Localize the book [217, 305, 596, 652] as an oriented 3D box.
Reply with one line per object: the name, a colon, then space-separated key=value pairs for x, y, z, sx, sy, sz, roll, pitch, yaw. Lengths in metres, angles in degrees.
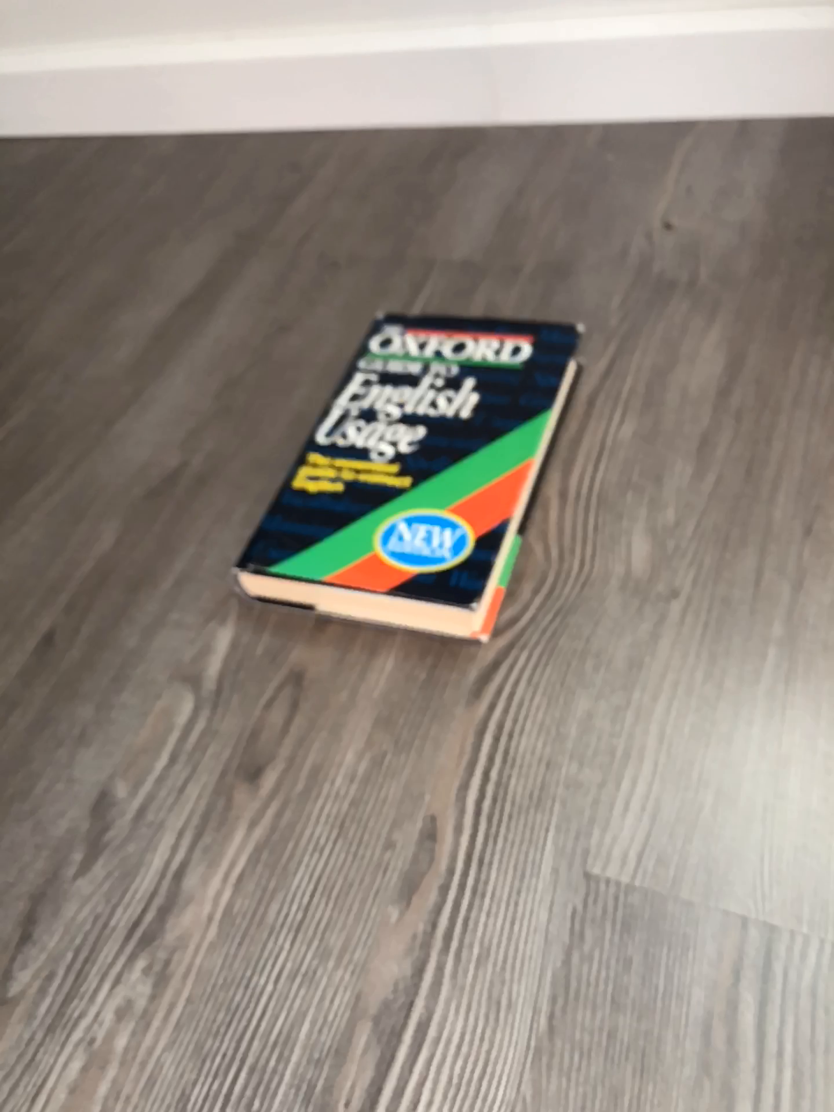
book: x=0.005 y=-0.060 z=0.550 sx=0.150 sy=0.035 sz=0.231 roll=9 pitch=53 yaw=21
